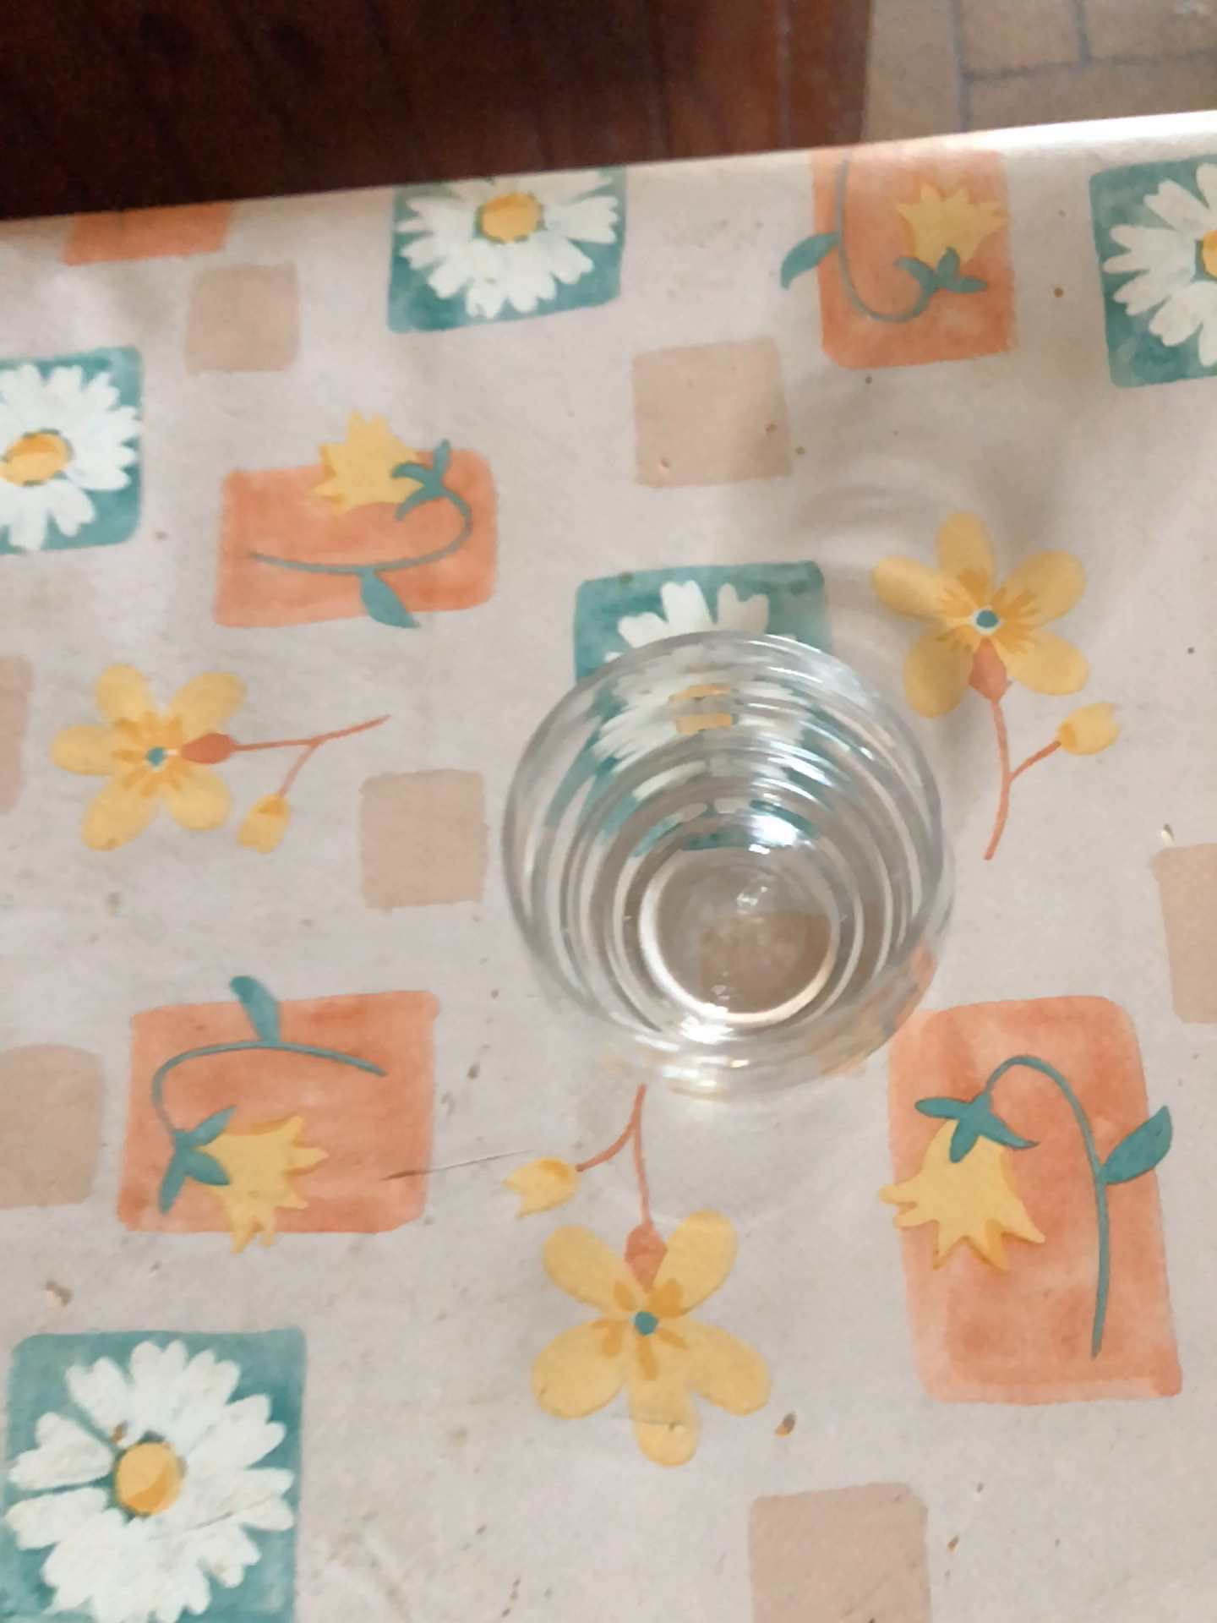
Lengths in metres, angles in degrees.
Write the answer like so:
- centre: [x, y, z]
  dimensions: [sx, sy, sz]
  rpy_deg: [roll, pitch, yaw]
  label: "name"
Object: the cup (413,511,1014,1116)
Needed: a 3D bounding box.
- centre: [0.015, 0.003, 0.170]
  dimensions: [0.060, 0.050, 0.060]
  rpy_deg: [-2, 72, 7]
  label: "cup"
